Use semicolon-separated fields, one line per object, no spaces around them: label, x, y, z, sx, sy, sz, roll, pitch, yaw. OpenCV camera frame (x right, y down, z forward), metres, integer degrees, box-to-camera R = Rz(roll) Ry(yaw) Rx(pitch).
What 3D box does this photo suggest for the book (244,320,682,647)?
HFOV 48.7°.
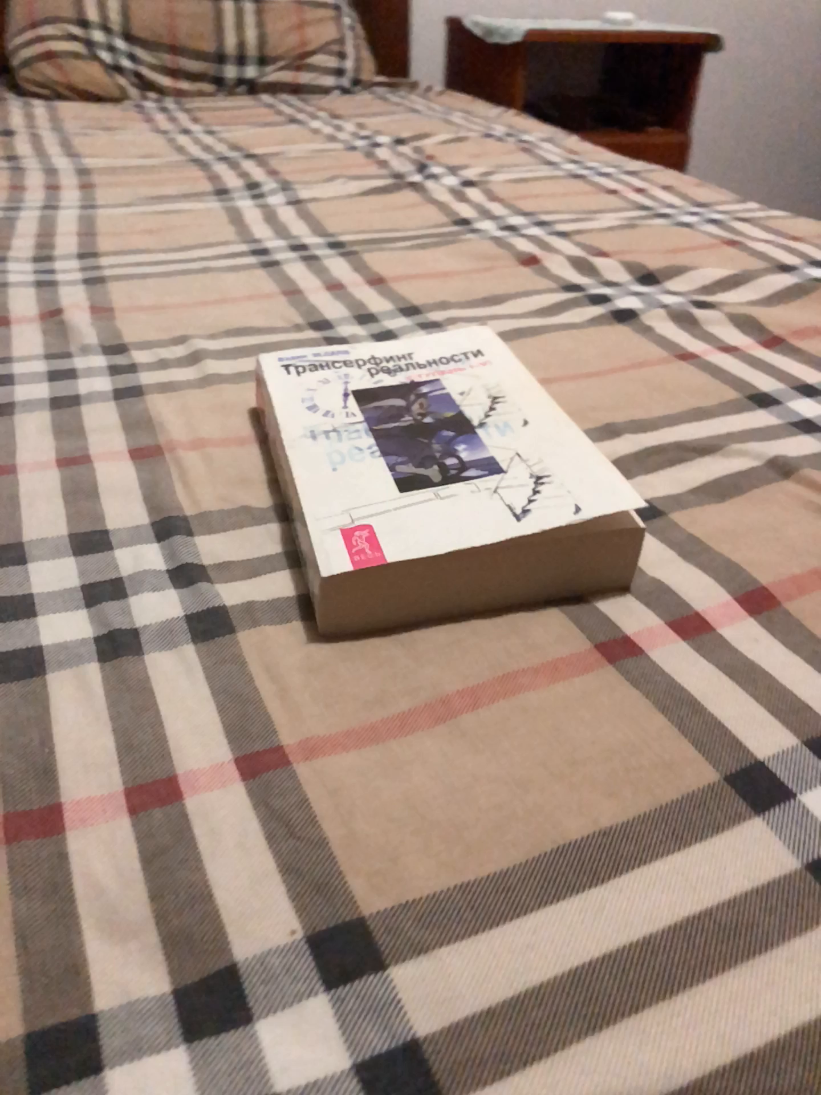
book;0.008;-0.045;0.421;0.143;0.037;0.203;-7;37;-14
